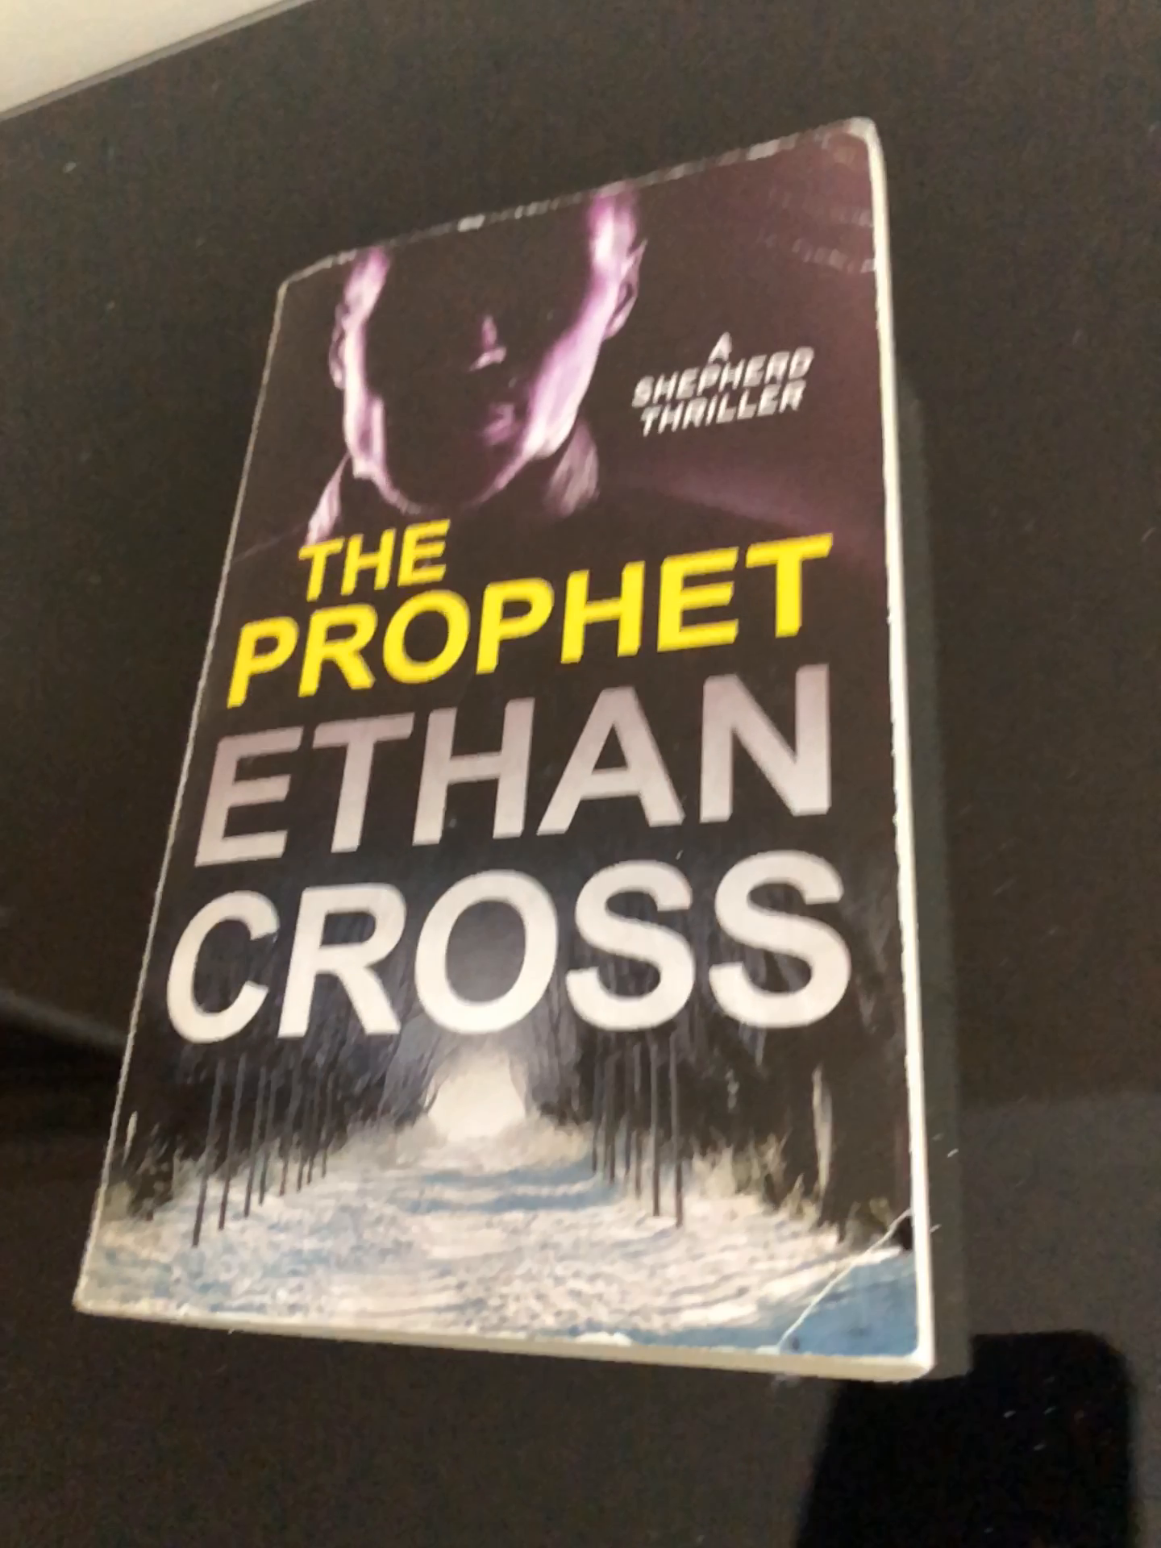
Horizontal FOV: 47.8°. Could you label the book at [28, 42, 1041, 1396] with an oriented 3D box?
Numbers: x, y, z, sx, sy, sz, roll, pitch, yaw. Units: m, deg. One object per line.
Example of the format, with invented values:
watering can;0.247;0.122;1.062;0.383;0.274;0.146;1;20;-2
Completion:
book;-0.001;-0.012;0.193;0.115;0.040;0.180;-5;65;20
